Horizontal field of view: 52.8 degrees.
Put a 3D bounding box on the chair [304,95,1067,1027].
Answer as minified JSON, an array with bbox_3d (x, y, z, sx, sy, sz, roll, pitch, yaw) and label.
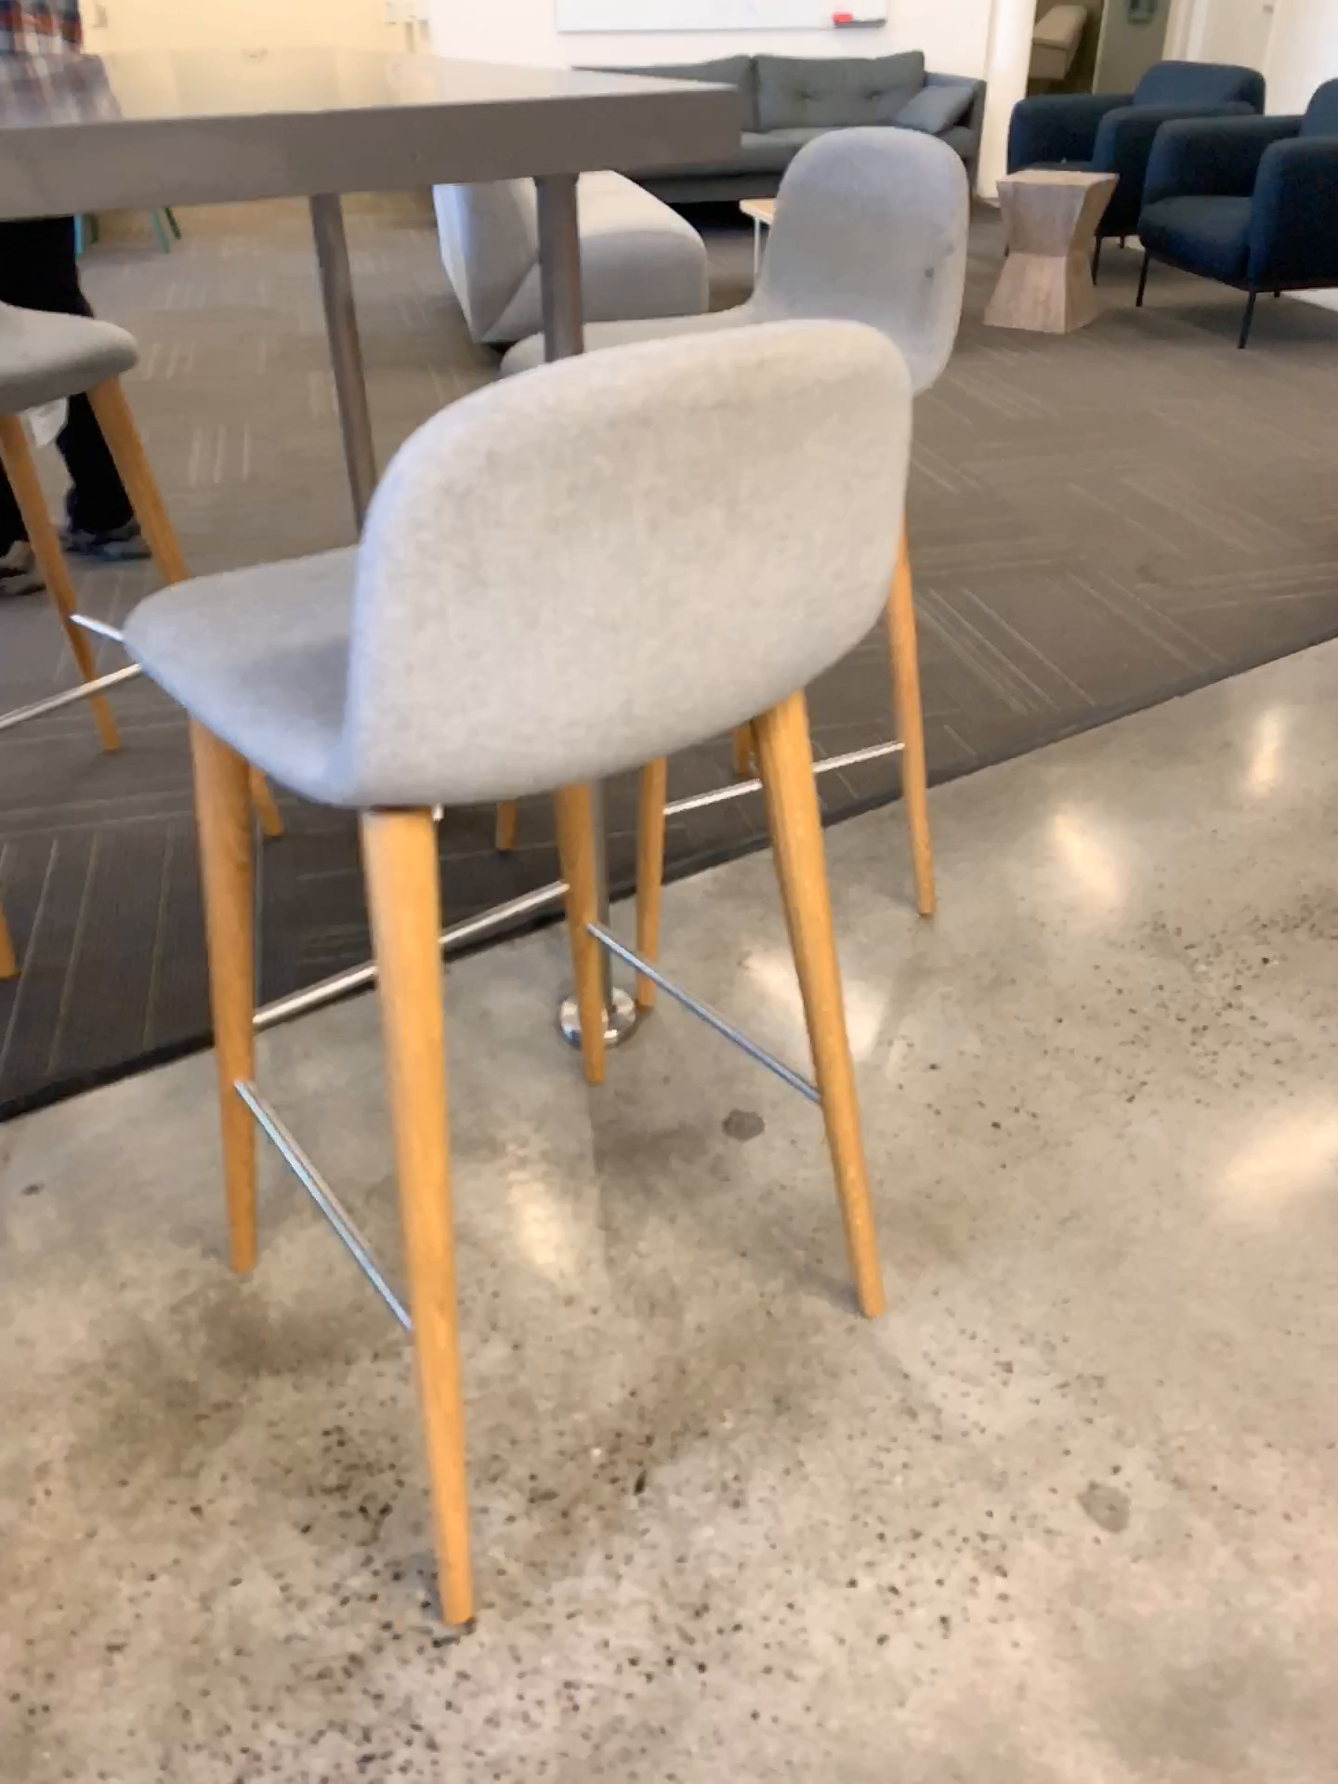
[{"bbox_3d":[-0.050,-0.545,1.945,0.580,0.974,0.966,-15,37,-21],"label":"chair"}]

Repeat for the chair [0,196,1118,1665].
[{"bbox_3d":[-0.120,-0.012,1.108,0.551,0.914,0.573,-23,39,-30],"label":"chair"}]
